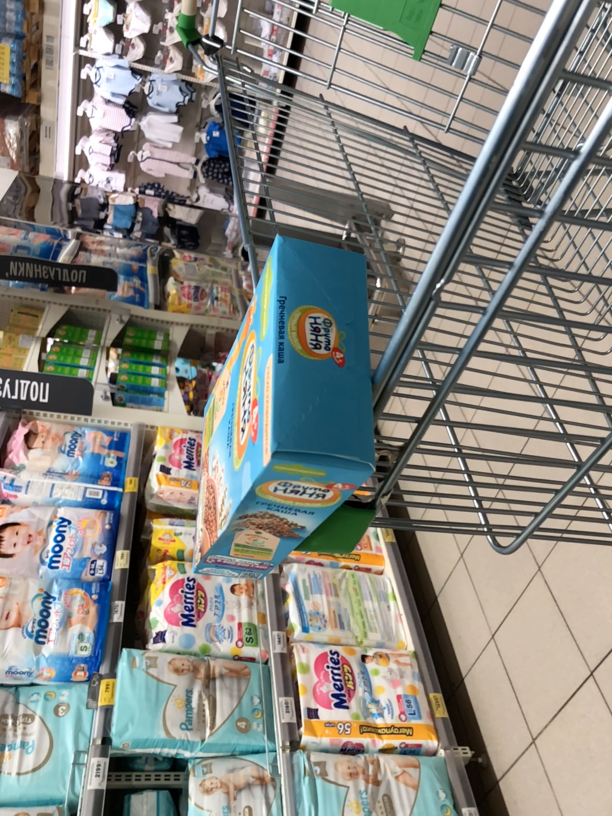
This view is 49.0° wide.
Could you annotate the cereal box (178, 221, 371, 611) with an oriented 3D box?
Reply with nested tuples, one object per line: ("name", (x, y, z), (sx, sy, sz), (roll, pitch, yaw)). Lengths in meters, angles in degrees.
("cereal box", (-0.029, 0.022, 0.402), (0.211, 0.050, 0.150), (124, 150, -57))
